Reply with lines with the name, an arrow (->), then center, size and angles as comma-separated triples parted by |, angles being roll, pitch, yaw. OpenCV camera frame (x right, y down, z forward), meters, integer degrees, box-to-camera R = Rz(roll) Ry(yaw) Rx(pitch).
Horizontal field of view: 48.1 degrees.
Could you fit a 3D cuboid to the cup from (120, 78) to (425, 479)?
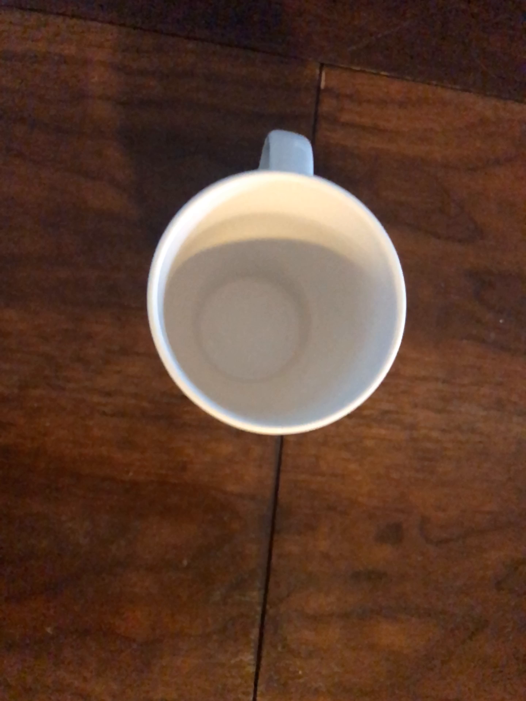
cup -> 0.001, -0.024, 0.284 | 0.110, 0.100, 0.150 | 6, 84, -8
